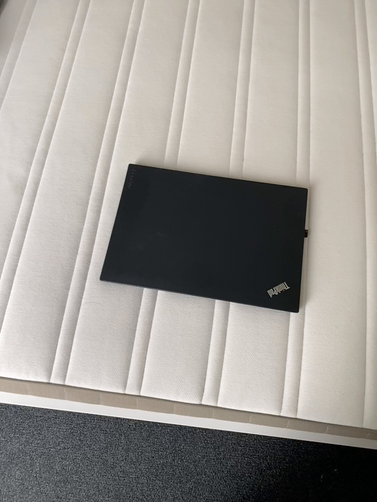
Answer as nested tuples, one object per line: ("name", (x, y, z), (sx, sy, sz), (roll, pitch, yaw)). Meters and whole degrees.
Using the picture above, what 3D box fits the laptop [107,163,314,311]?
("laptop", (0.039, -0.027, 0.586), (0.288, 0.005, 0.193), (9, 73, 3))
